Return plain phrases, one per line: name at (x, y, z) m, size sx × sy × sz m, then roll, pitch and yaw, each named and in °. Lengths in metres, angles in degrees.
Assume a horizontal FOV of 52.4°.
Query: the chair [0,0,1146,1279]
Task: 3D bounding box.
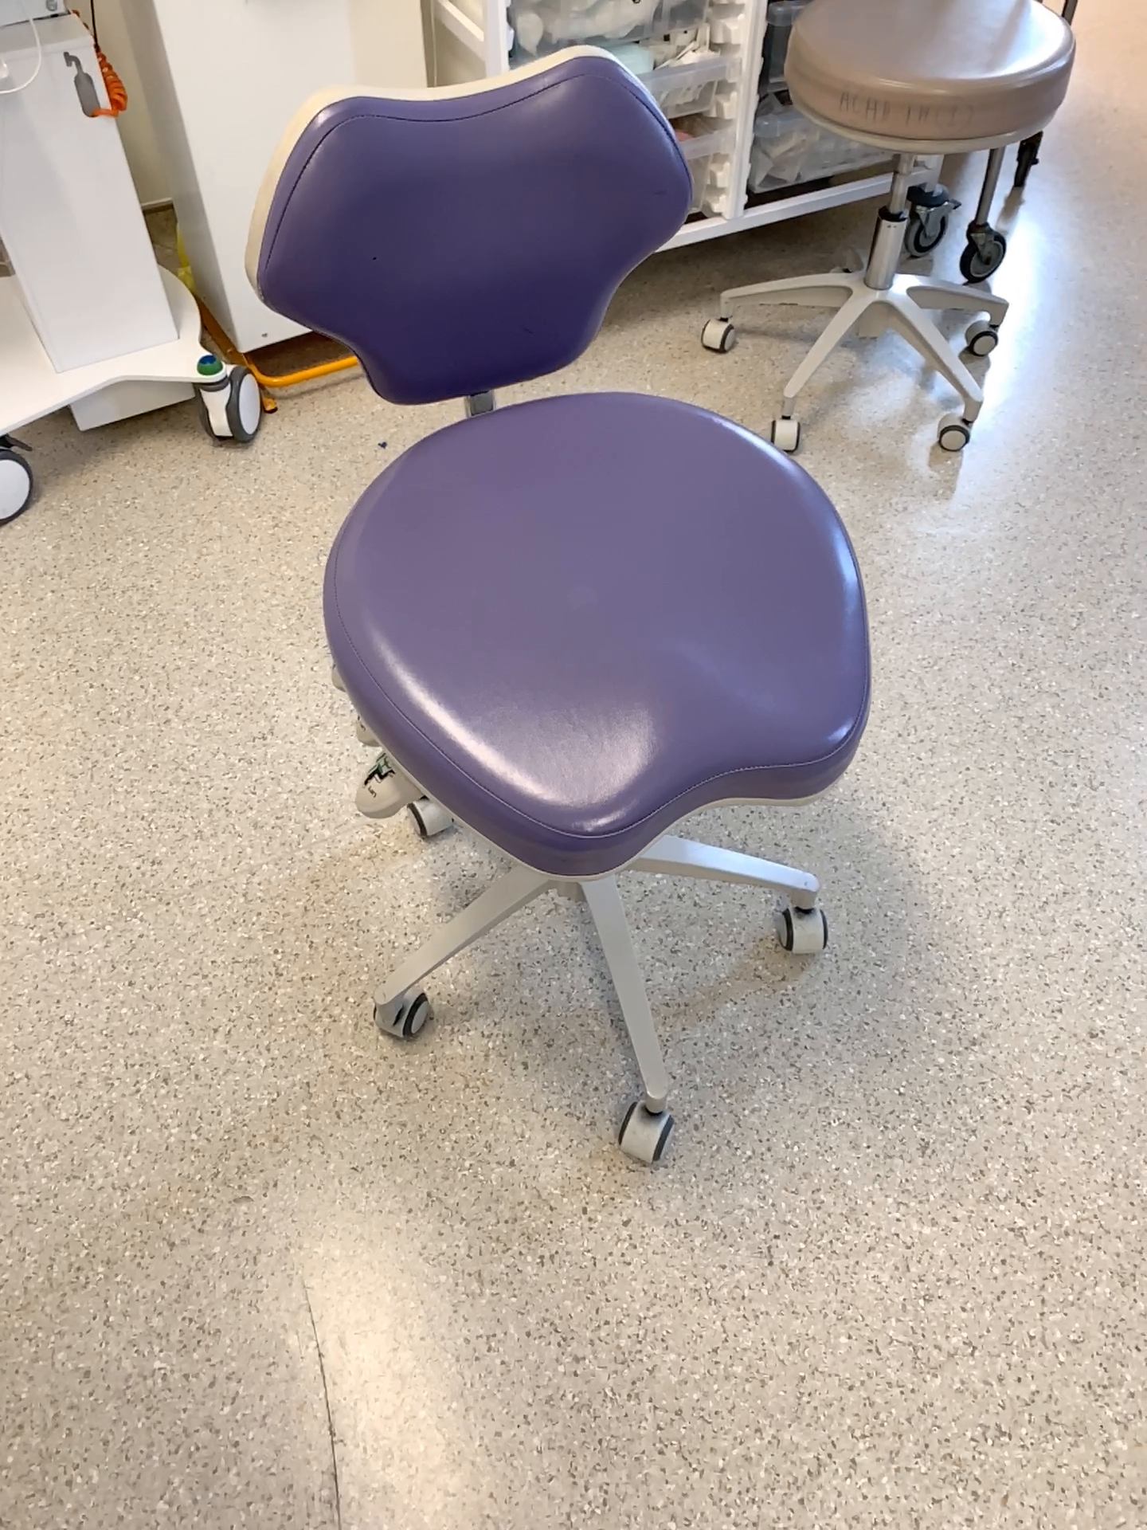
chair at (0.005, -0.116, 1.003) m, size 0.601 × 0.823 × 0.655 m, roll -21°, pitch 55°, yaw -14°
